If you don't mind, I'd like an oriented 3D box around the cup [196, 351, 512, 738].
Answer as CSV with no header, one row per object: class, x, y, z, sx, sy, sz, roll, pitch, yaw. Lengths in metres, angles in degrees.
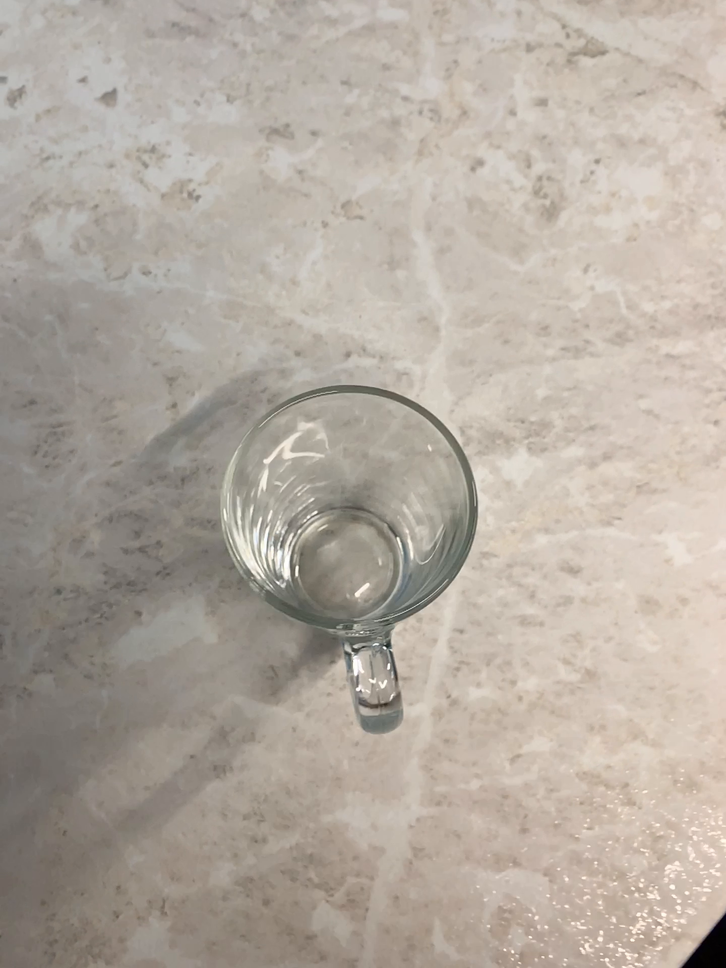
cup,-0.008,0.028,0.276,0.089,0.097,0.115,-3,73,-3
